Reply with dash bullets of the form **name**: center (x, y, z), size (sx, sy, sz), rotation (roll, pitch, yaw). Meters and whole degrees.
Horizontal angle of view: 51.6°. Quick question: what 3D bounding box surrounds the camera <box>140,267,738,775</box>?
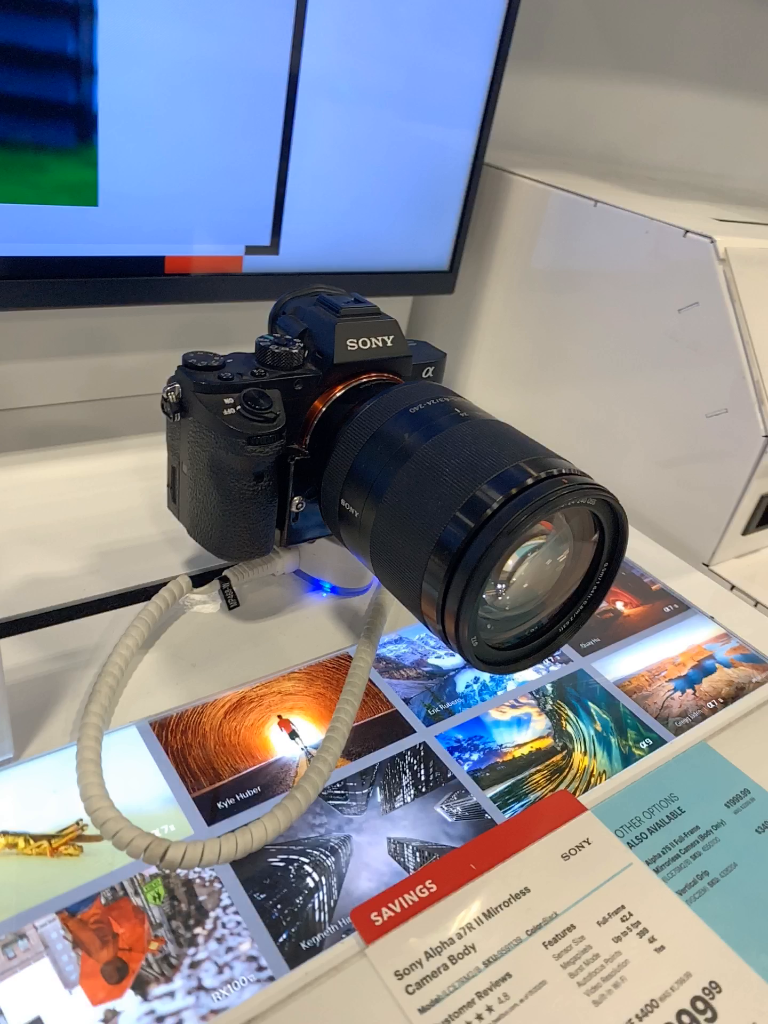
- **camera**: center (0.007, -0.019, 0.311), size (0.128, 0.091, 0.185), rotation (-17, 41, -38)
